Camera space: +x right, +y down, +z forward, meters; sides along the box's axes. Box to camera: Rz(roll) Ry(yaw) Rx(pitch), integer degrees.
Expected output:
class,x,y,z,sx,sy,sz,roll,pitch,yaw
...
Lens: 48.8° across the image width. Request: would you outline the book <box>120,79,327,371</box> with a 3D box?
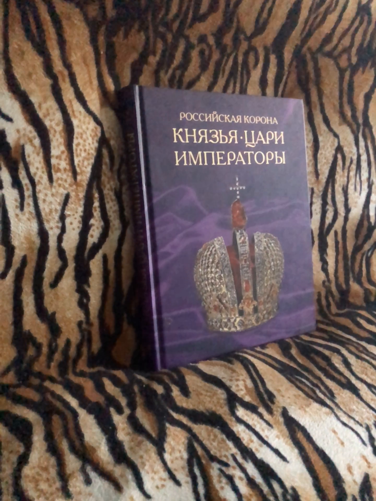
class,x,y,z,sx,sy,sz,roll,pitch,yaw
book,0.050,-0.034,0.462,0.223,0.280,0.035,-7,5,-26
